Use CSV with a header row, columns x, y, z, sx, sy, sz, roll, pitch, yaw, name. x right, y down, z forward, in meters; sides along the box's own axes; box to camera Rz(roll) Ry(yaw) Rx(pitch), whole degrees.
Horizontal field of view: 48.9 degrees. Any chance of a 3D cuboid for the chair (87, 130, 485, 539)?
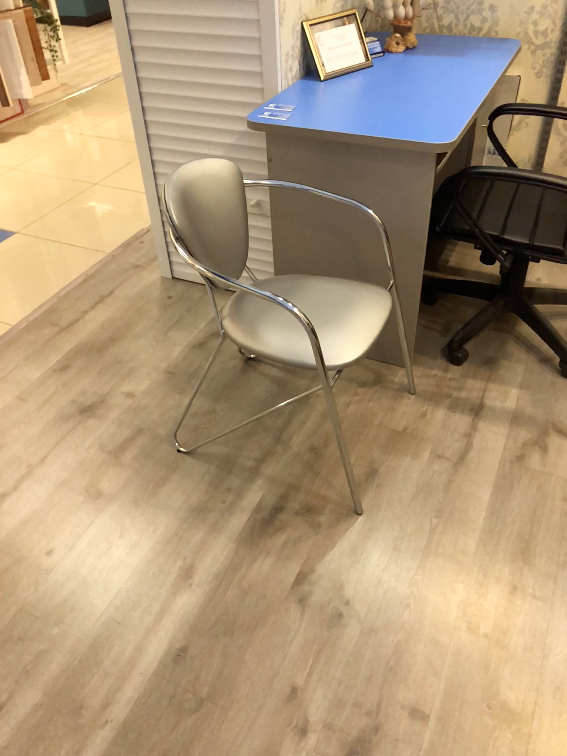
x,y,z,sx,sy,sz,roll,pitch,yaw,name
0.048,-0.147,1.677,0.731,0.746,0.613,15,43,20,chair
